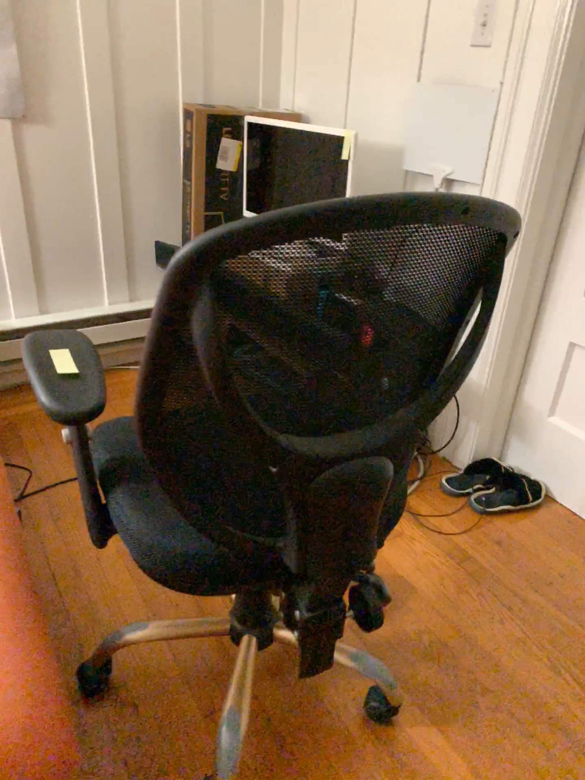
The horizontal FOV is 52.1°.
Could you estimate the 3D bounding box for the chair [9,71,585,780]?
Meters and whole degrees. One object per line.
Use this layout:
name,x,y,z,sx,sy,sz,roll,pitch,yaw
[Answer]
chair,-0.031,0.086,0.974,0.640,0.974,0.664,-8,35,-21
